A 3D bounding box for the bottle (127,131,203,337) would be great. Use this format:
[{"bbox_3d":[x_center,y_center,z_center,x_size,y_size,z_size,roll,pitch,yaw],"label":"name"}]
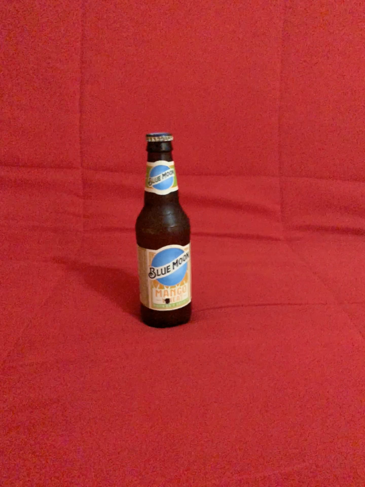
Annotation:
[{"bbox_3d":[-0.020,-0.009,0.423,0.070,0.216,0.069,-1,23,0],"label":"bottle"}]
